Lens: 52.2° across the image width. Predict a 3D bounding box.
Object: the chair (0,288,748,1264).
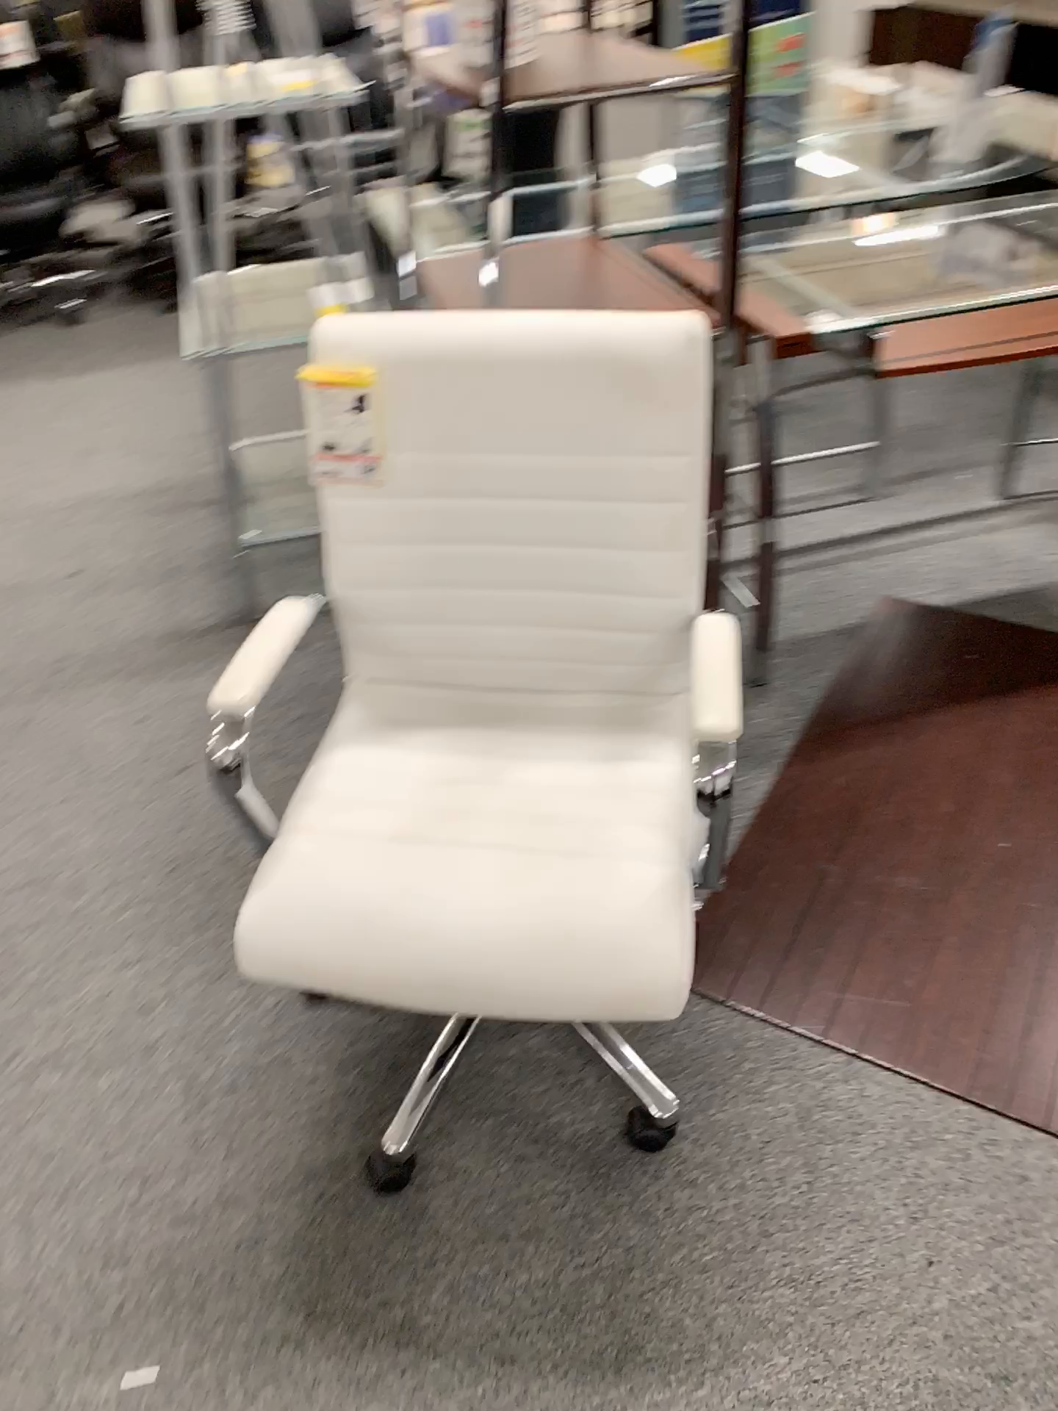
[{"bbox_3d":[-0.080,0.069,1.307,0.620,0.905,0.684,3,38,10],"label":"chair"}]
